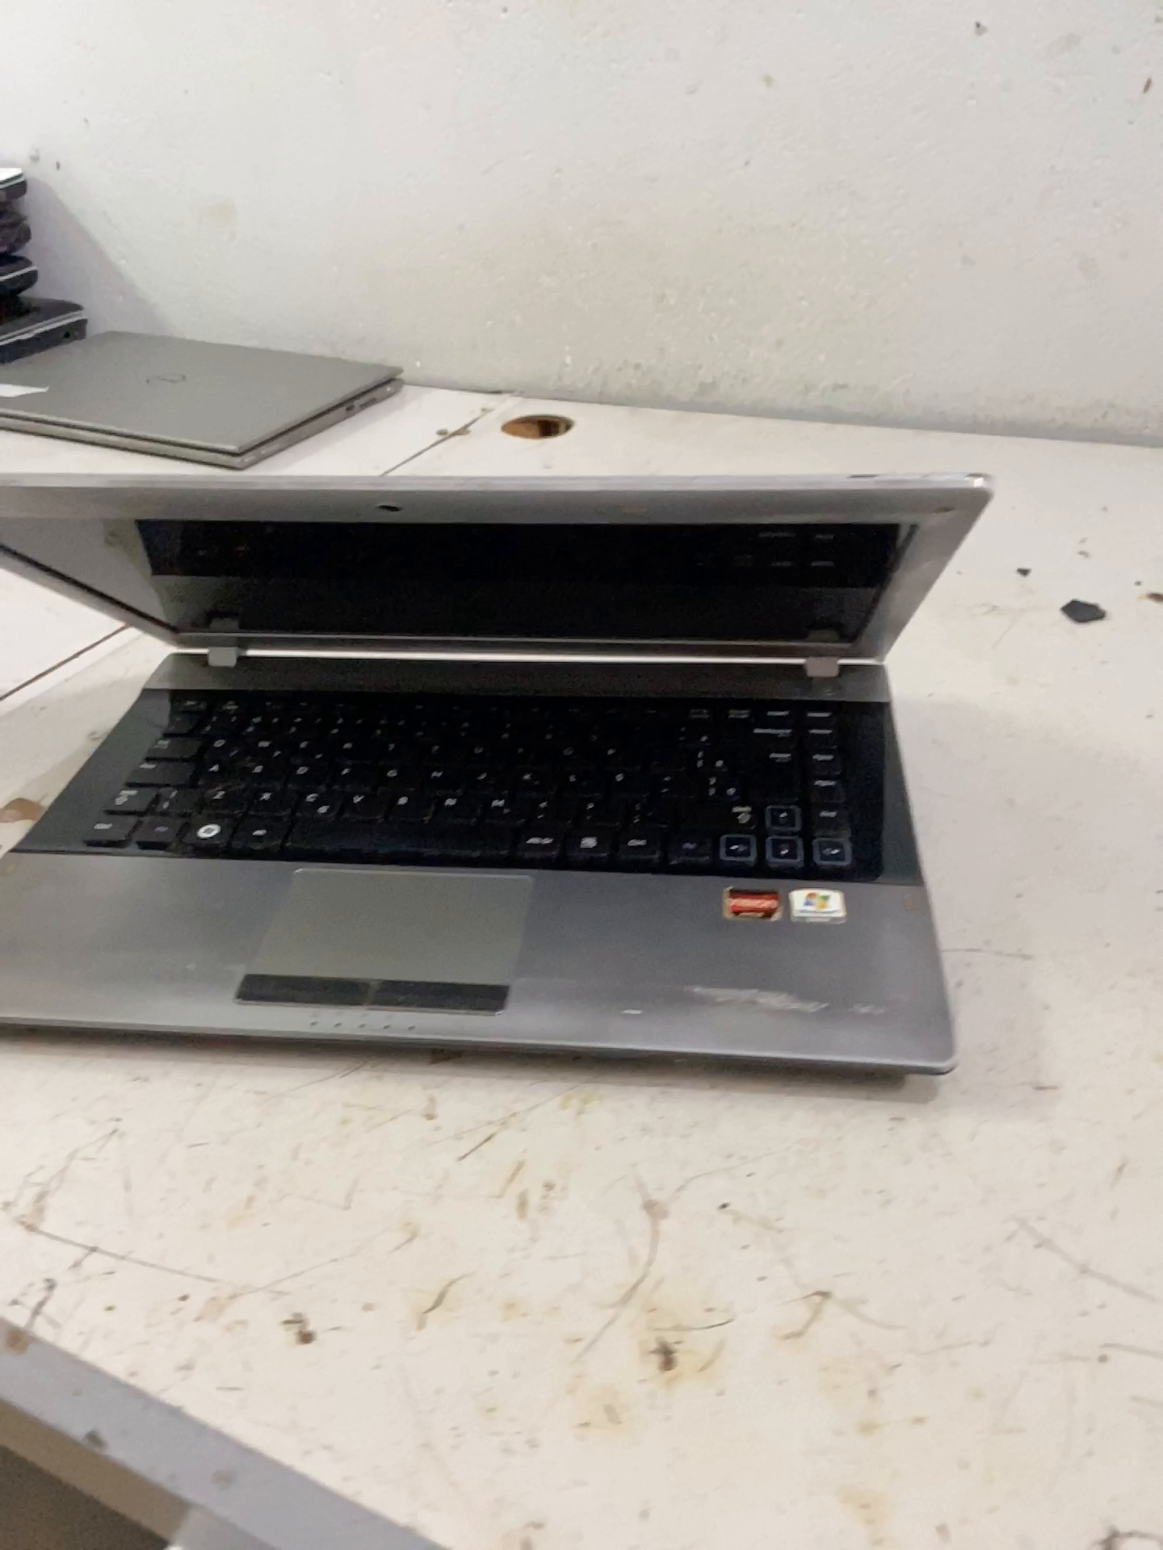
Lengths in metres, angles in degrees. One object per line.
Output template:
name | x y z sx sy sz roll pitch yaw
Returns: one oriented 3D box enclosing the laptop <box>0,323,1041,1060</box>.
laptop | -0.049 -0.049 0.430 0.344 0.150 0.234 1 35 7
